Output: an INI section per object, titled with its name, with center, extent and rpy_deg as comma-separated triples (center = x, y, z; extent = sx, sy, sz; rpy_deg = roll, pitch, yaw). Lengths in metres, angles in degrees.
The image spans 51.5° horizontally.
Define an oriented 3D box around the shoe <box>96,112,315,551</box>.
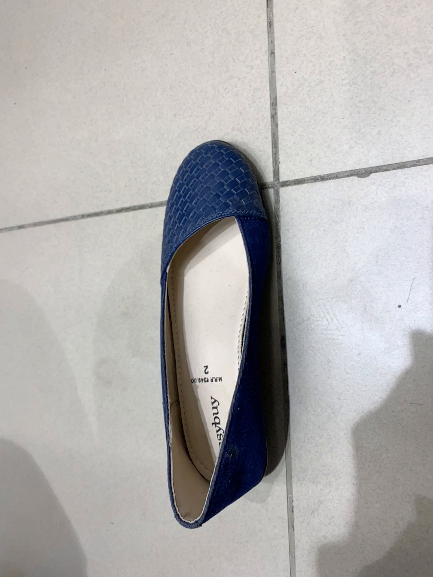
[shoe]
center = -0.007, 0.024, 0.273
extent = 0.090, 0.060, 0.220
rpy_deg = -8, 87, 31
